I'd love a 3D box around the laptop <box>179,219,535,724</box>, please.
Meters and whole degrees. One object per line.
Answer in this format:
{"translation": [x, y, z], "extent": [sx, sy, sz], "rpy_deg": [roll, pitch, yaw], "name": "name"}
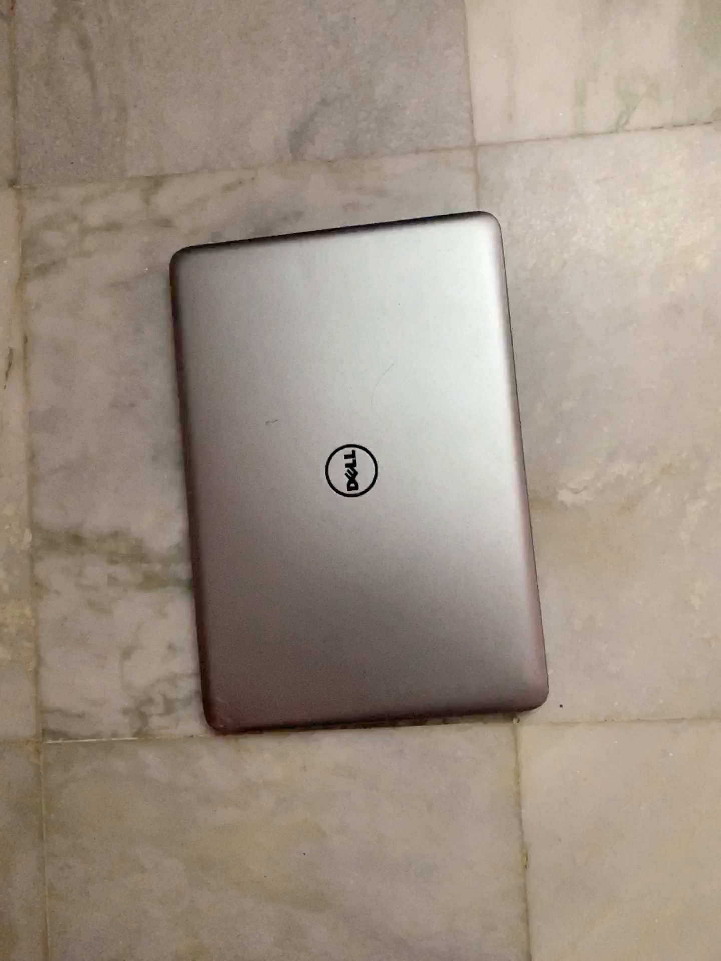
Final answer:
{"translation": [-0.006, -0.006, 0.543], "extent": [0.234, 0.001, 0.351], "rpy_deg": [-5, 88, 4], "name": "laptop"}
